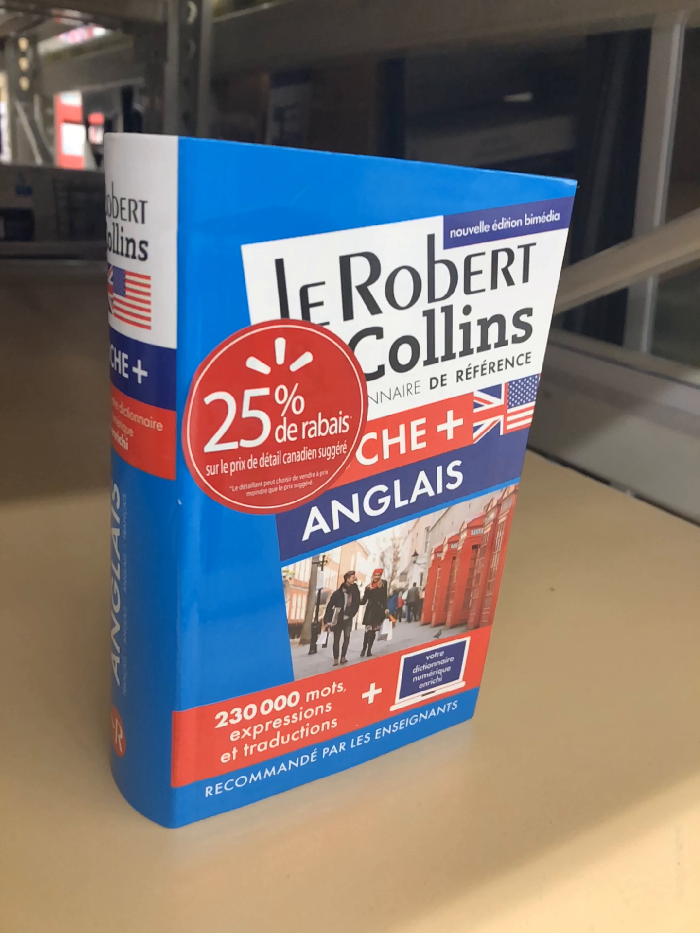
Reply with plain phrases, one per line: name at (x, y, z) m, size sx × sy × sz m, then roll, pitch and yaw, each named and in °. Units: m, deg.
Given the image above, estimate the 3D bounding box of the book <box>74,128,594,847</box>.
book at (-0.010, 0.002, 0.229) m, size 0.121 × 0.173 × 0.059 m, roll -7°, pitch 24°, yaw -32°
